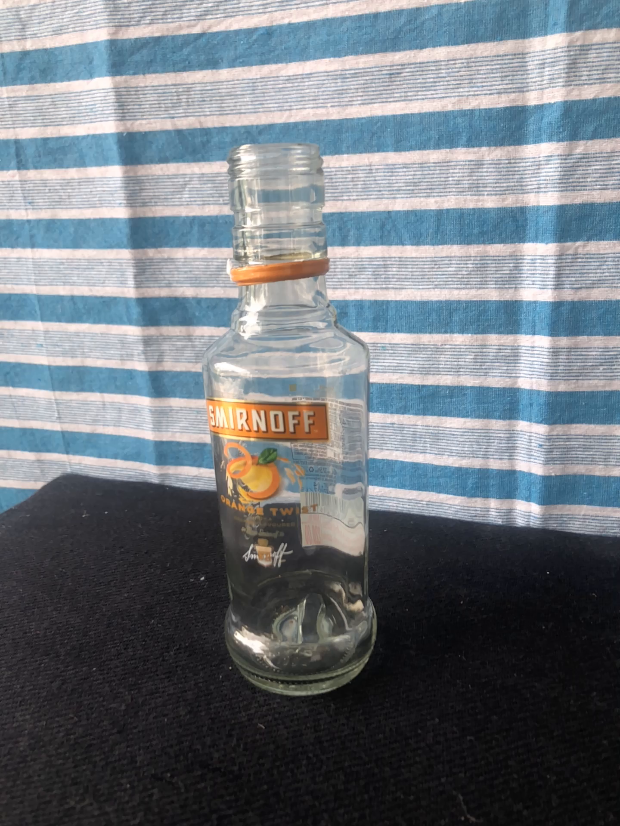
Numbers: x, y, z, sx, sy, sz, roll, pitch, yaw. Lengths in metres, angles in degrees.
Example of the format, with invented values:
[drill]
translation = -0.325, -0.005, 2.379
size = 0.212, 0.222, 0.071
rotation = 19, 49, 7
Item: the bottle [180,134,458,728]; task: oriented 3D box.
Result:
[bottle]
translation = 0.005, 0.005, 0.219
size = 0.060, 0.169, 0.050
rotation = 10, 22, 29
